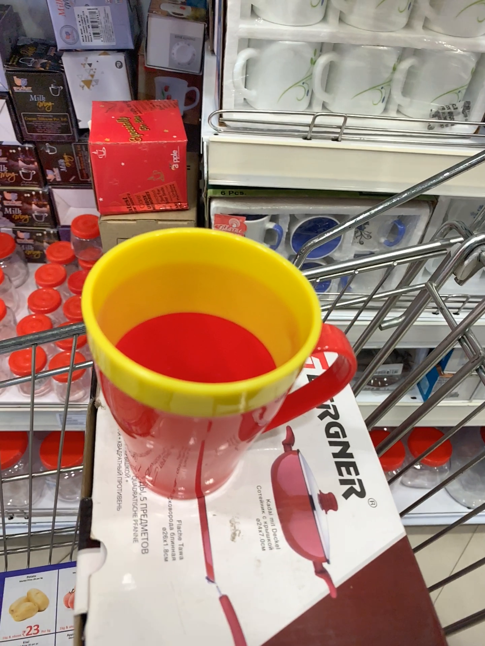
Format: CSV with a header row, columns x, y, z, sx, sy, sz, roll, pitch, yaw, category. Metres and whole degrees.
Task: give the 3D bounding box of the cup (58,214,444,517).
x,y,z,sx,sy,sz,roll,pitch,yaw,category
-0.004,0.017,0.195,0.110,0.080,0.080,1,46,-10,cup
